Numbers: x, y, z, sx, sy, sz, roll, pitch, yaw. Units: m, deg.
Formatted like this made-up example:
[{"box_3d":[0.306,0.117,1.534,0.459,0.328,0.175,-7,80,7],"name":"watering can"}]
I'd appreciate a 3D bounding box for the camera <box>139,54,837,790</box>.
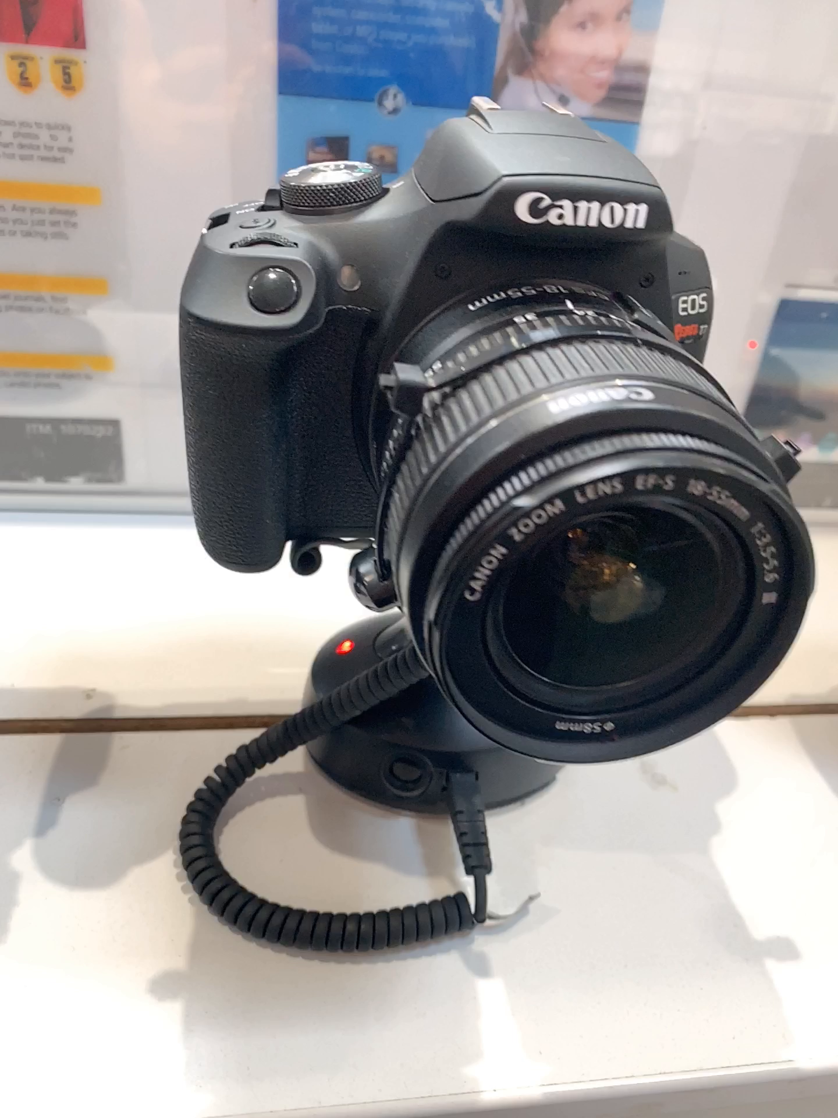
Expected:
[{"box_3d":[0.016,-0.034,0.181,0.122,0.104,0.110,1,33,-10],"name":"camera"}]
